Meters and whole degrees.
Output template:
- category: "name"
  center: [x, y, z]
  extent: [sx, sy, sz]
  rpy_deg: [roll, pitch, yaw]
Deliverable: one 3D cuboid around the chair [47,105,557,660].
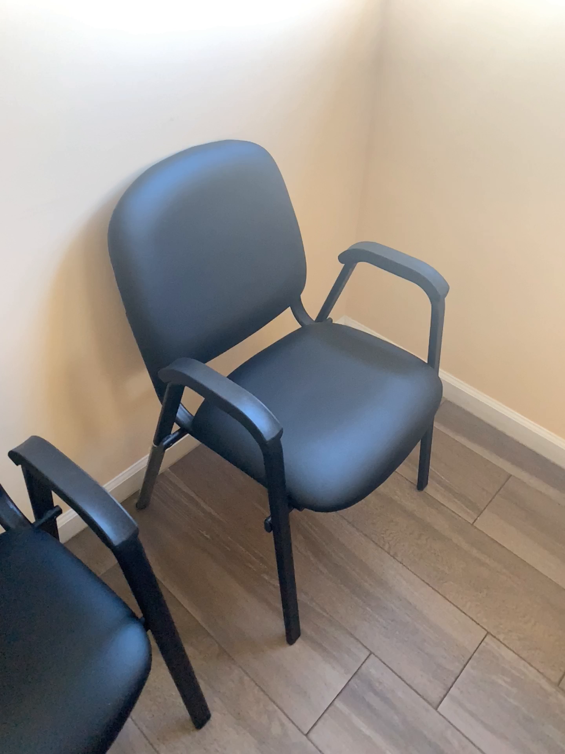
- category: "chair"
  center: [0.038, 0.001, 1.252]
  extent: [0.590, 0.847, 0.636]
  rpy_deg: [32, 51, 28]
